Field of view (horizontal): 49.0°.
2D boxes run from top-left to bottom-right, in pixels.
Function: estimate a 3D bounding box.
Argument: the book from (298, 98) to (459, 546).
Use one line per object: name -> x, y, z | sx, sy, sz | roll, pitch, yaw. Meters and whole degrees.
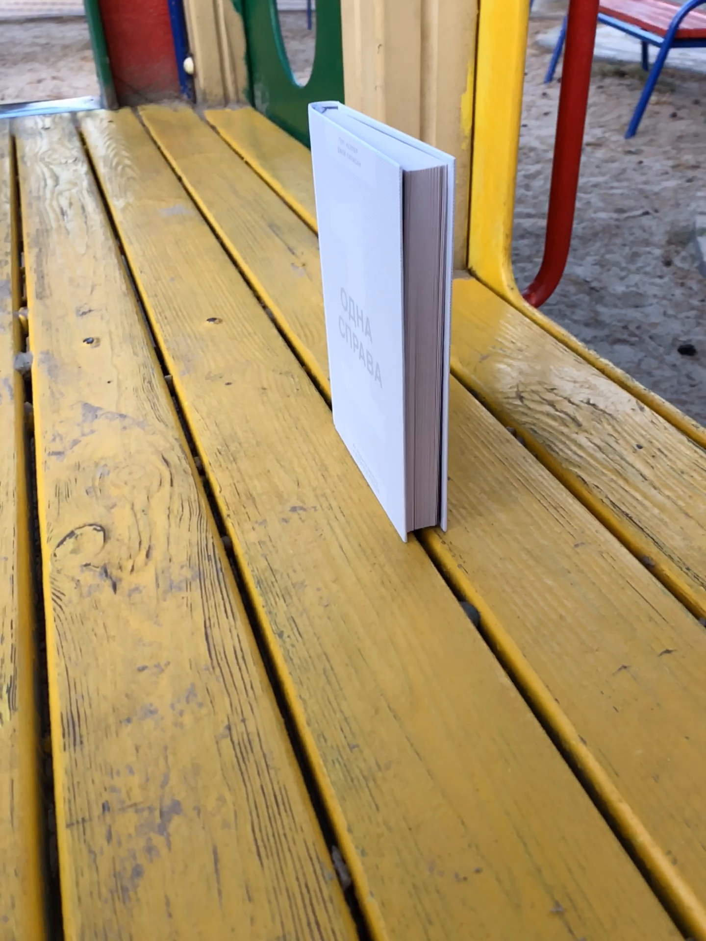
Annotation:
book -> 0.013, -0.087, 0.447 | 0.030, 0.208, 0.155 | -14, 37, -13
